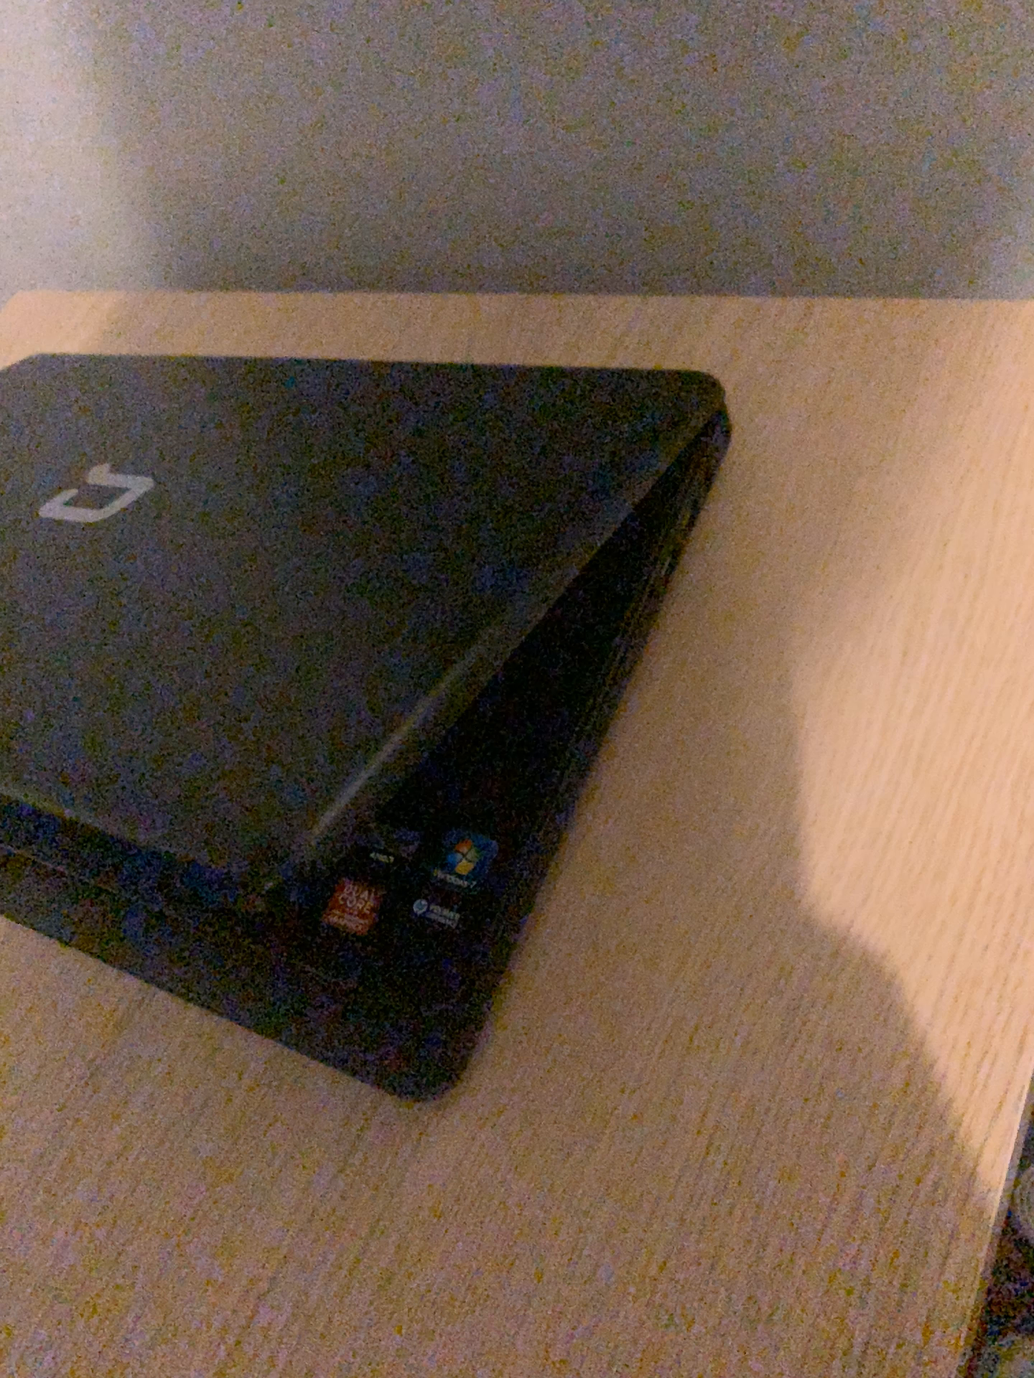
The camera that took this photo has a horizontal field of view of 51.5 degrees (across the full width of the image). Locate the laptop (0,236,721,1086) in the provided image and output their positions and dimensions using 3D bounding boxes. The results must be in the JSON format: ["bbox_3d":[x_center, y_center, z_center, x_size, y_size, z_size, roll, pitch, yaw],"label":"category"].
[{"bbox_3d":[-0.146,-0.044,0.382,0.374,0.064,0.224,11,66,31],"label":"laptop"}]
